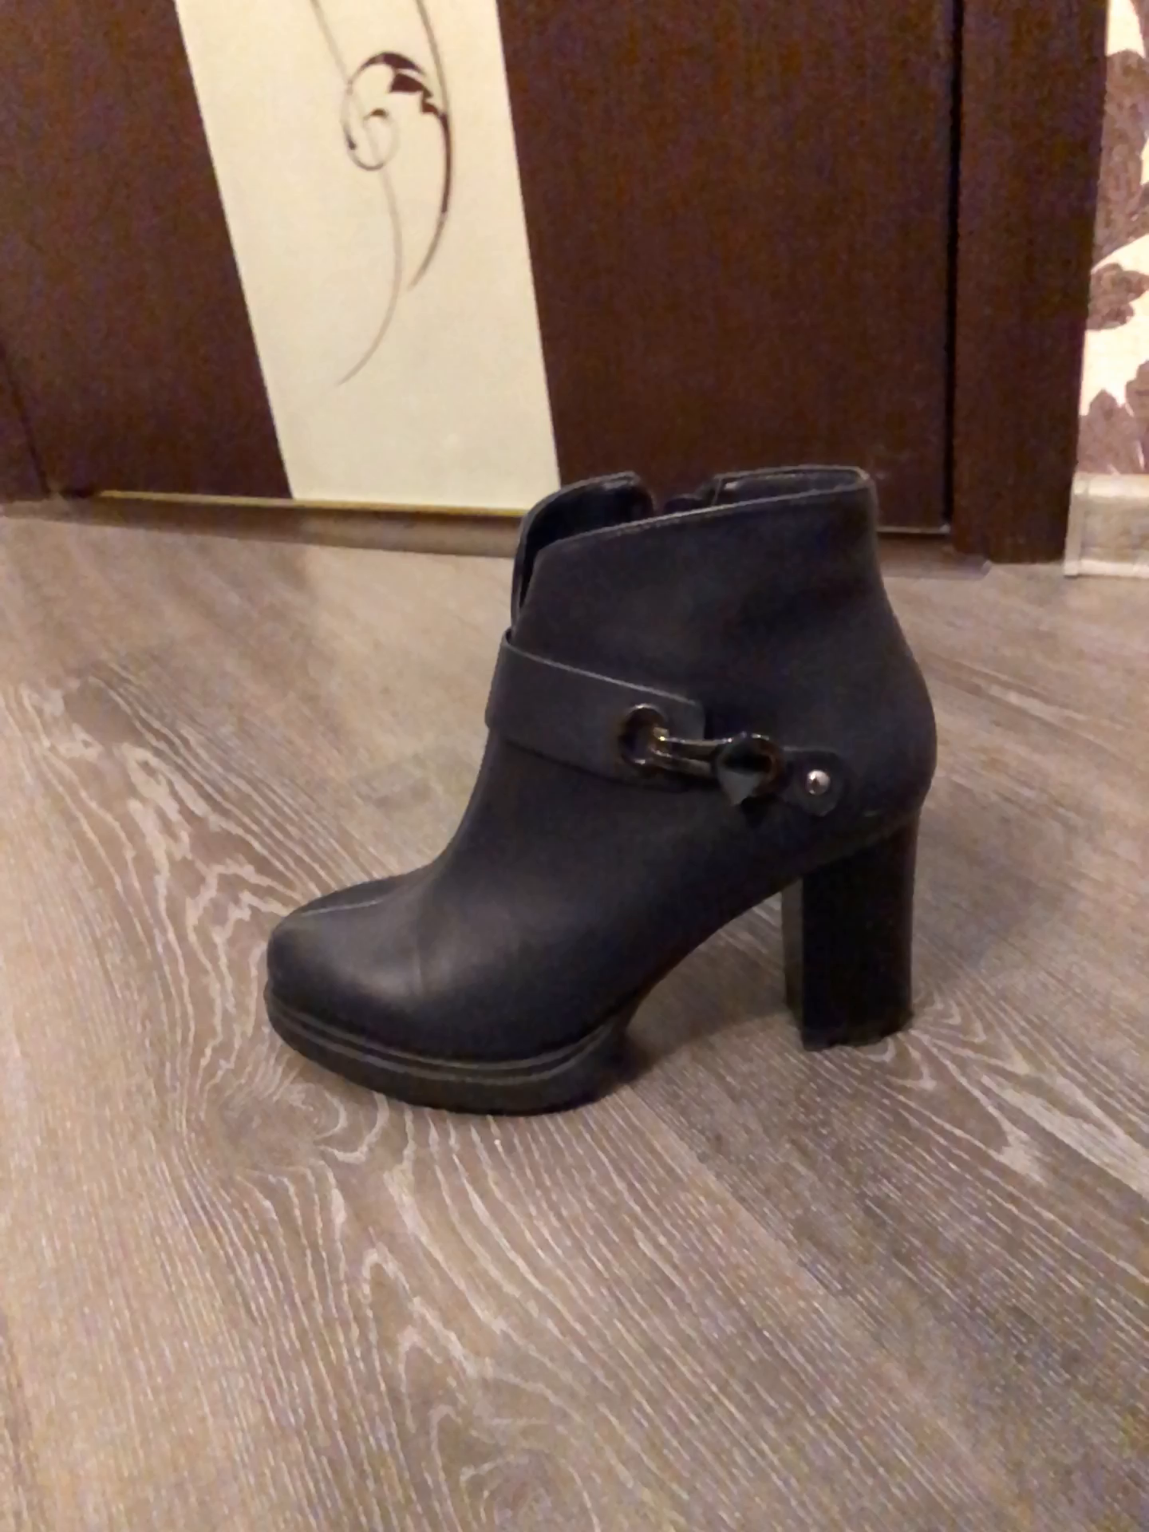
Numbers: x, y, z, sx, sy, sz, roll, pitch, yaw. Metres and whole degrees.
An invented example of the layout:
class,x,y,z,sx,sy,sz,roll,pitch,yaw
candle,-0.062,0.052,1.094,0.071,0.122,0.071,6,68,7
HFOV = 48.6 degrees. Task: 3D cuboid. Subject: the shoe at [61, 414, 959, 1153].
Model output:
class,x,y,z,sx,sy,sz,roll,pitch,yaw
shoe,-0.007,0.007,0.416,0.230,0.189,0.111,-6,28,4
